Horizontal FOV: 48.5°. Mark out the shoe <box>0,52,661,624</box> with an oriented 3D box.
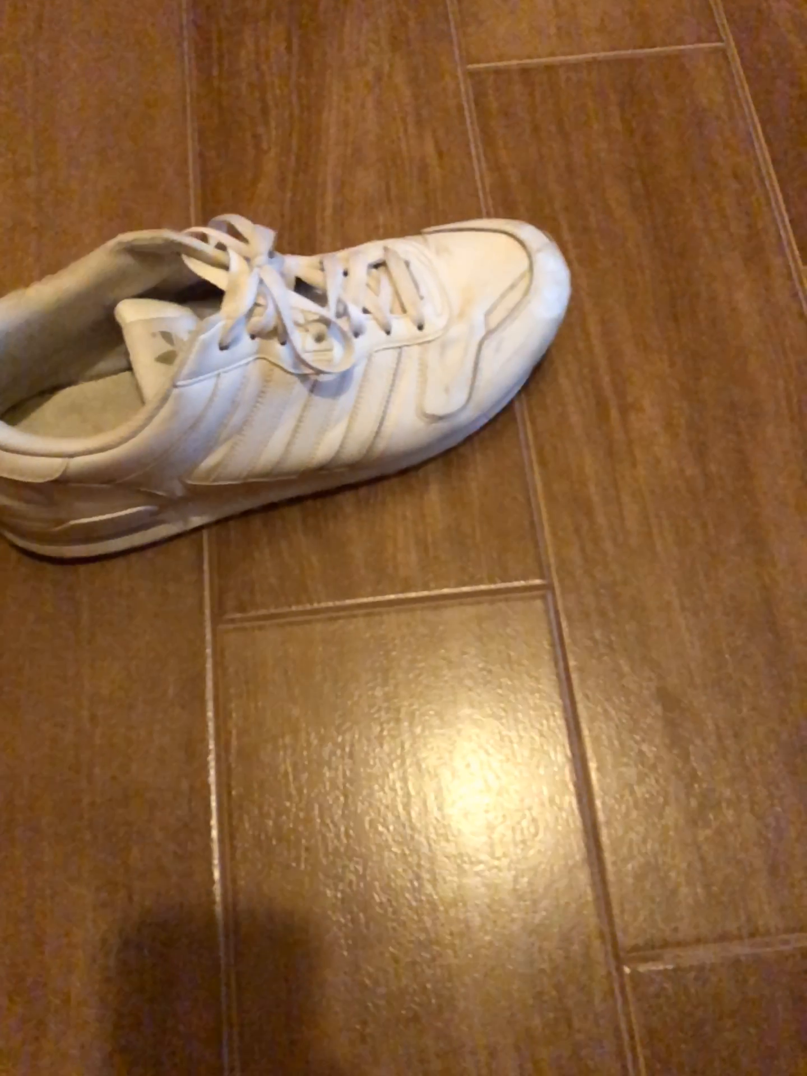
[{"bbox_3d":[-0.065,-0.085,0.407,0.310,0.120,0.120,-20,72,-8],"label":"shoe"}]
